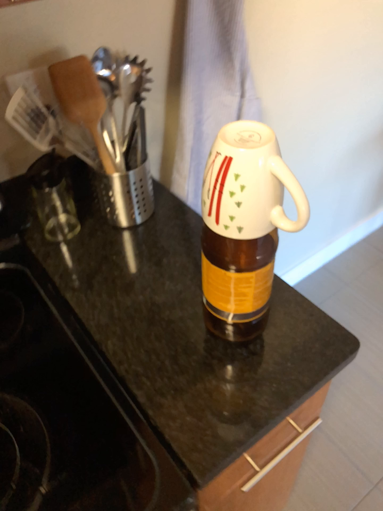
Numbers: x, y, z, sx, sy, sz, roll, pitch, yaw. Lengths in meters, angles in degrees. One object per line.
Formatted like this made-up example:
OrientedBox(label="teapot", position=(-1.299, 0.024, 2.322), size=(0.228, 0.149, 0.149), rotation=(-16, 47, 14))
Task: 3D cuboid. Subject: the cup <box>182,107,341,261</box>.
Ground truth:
OrientedBox(label="cup", position=(0.077, -0.086, 0.495), size=(0.140, 0.109, 0.100), rotation=(20, 47, 23))
